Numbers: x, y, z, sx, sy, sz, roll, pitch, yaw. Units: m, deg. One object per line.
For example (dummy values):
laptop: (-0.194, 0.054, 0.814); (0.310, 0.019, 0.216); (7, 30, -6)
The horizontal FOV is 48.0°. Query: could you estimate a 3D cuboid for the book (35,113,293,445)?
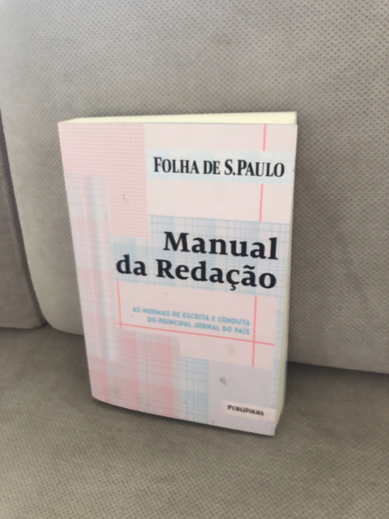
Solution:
book: (-0.019, 0.014, 0.324); (0.166, 0.228, 0.040); (5, 21, 19)
